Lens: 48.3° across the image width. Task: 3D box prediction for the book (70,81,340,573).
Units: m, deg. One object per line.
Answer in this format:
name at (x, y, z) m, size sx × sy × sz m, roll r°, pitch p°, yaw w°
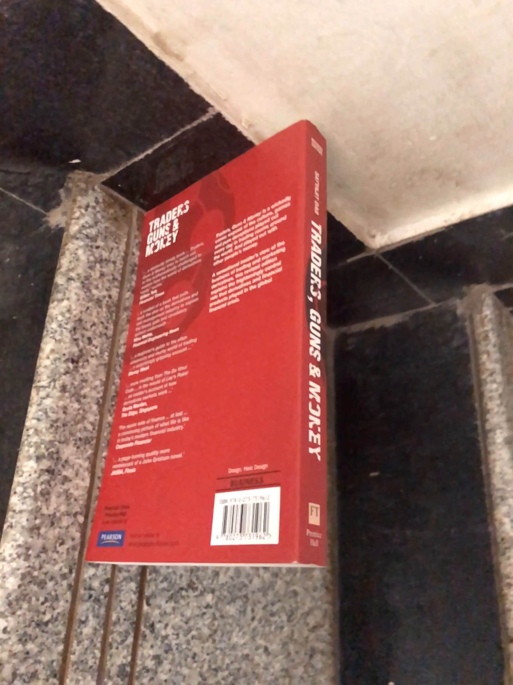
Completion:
book at (-0.026, -0.004, 0.302) m, size 0.030 × 0.149 × 0.230 m, roll 25°, pitch 58°, yaw -39°
